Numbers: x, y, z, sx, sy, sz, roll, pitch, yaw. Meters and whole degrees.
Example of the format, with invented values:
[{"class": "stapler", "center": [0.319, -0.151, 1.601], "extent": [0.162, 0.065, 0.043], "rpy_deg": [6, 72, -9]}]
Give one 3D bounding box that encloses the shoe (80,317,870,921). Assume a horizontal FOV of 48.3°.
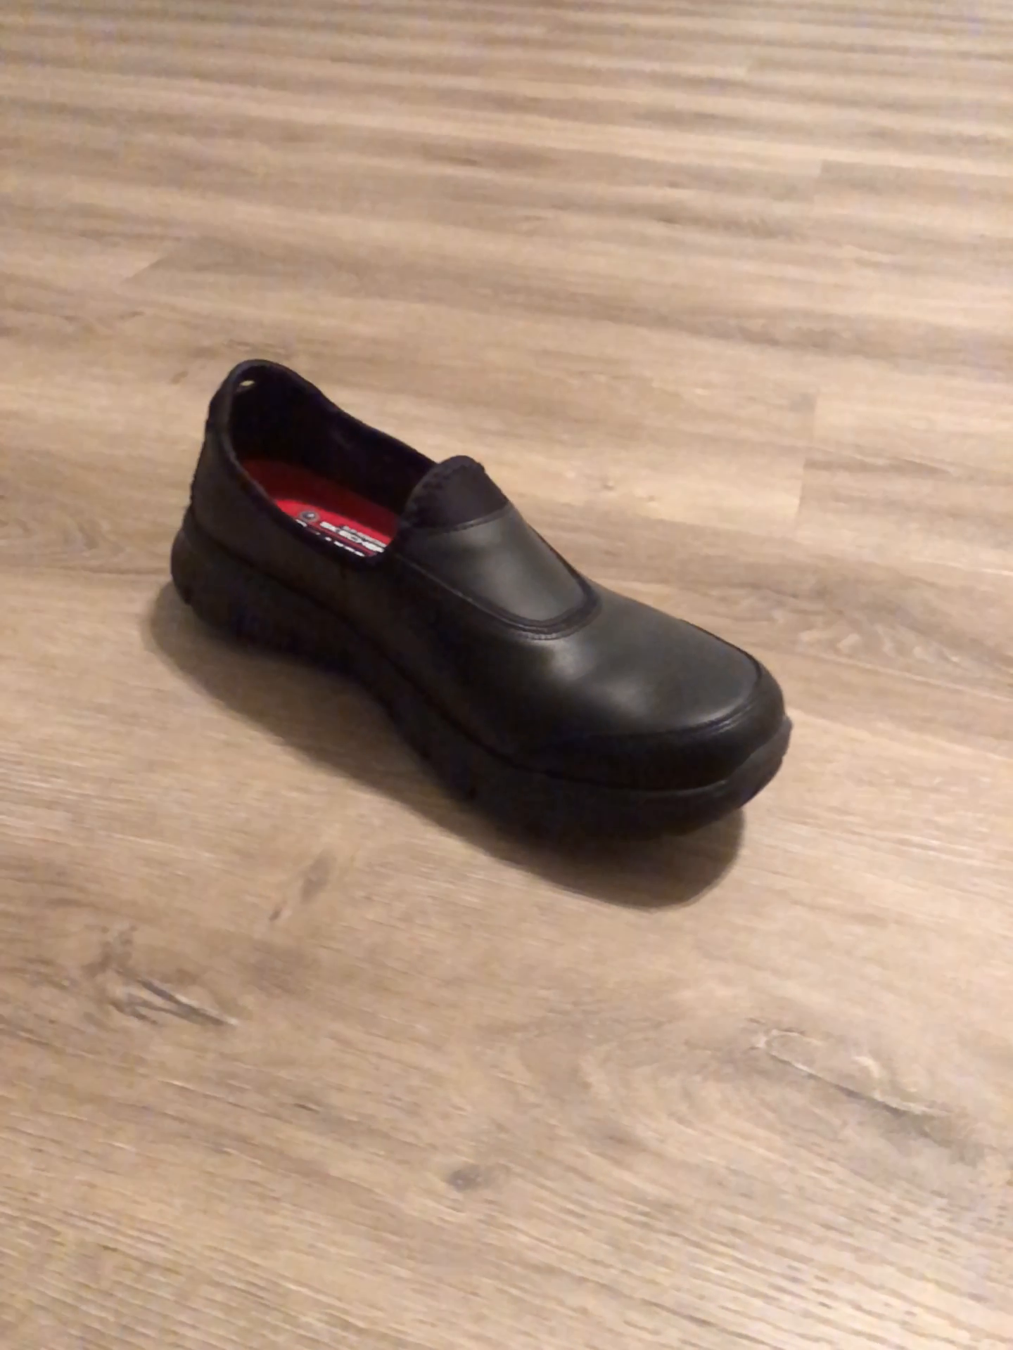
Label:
[{"class": "shoe", "center": [-0.021, -0.034, 0.375], "extent": [0.240, 0.090, 0.090], "rpy_deg": [26, 43, 28]}]
